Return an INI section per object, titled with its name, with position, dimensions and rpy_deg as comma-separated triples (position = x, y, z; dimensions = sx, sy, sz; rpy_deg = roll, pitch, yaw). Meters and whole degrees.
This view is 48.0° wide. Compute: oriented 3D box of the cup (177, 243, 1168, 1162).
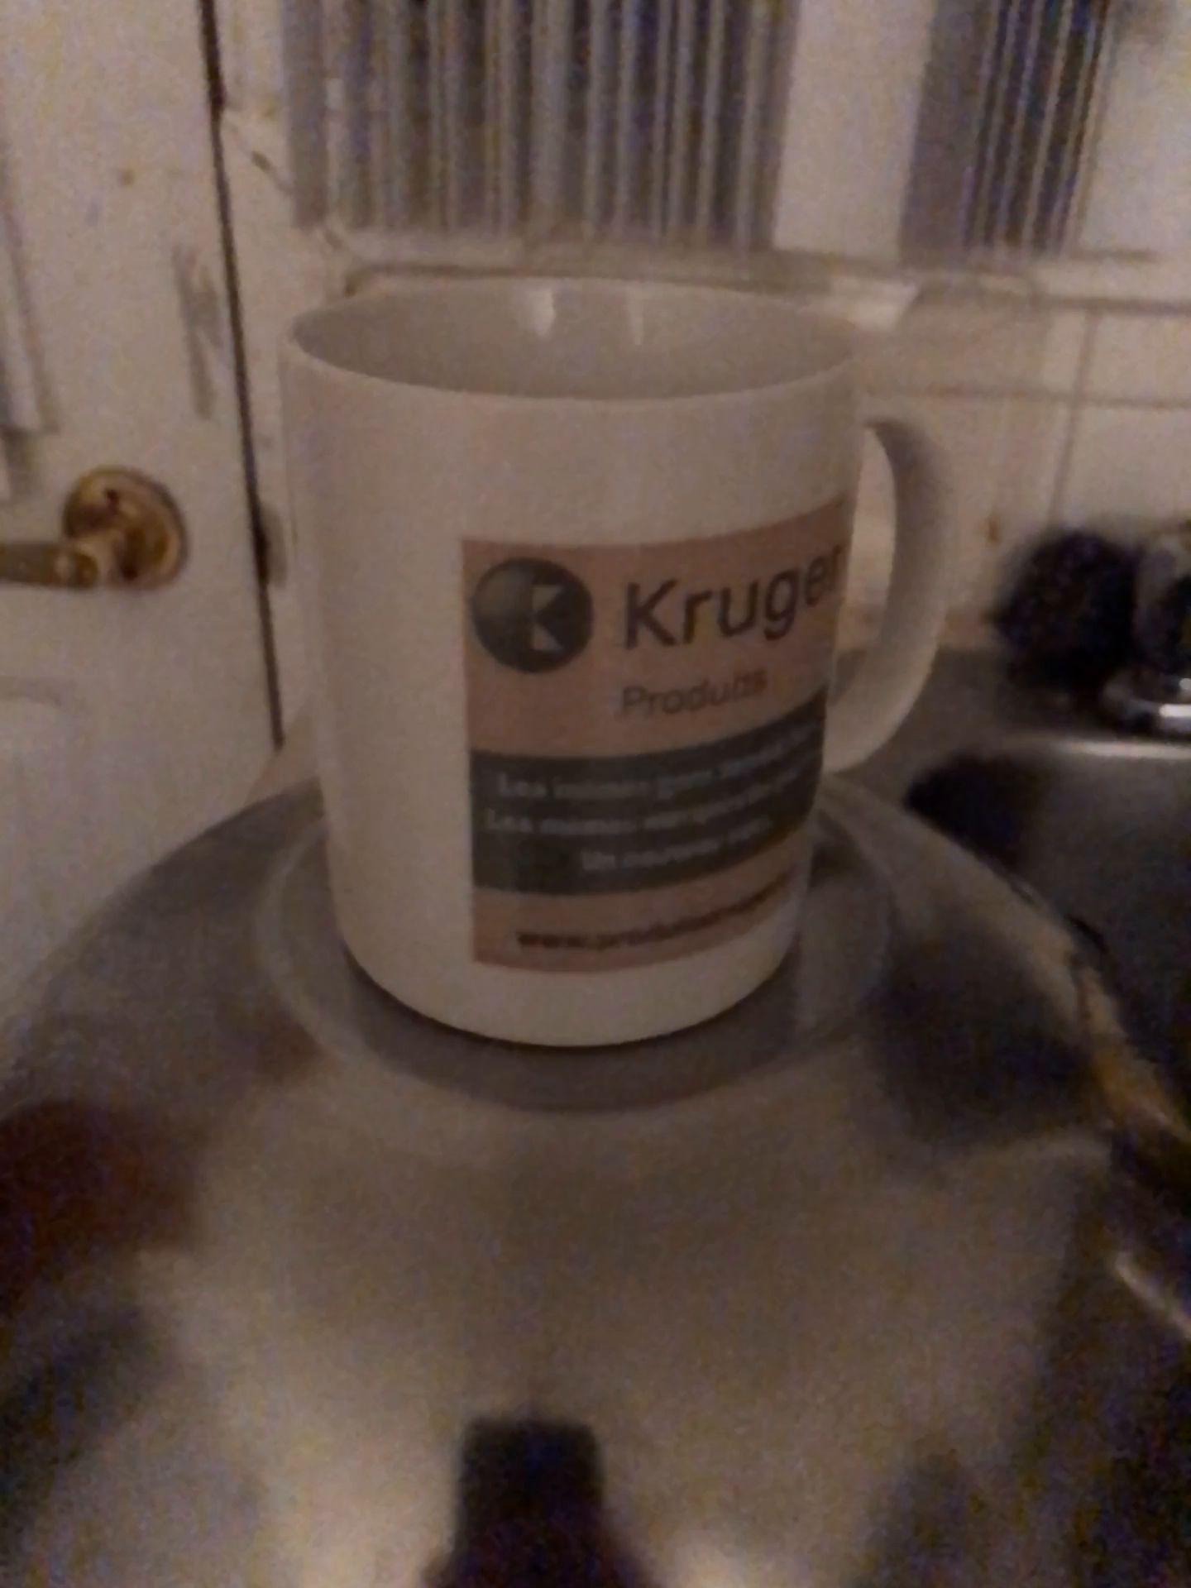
[cup]
position = 0.005, -0.026, 0.227
dimensions = 0.120, 0.109, 0.091
rpy_deg = -12, 33, -22
